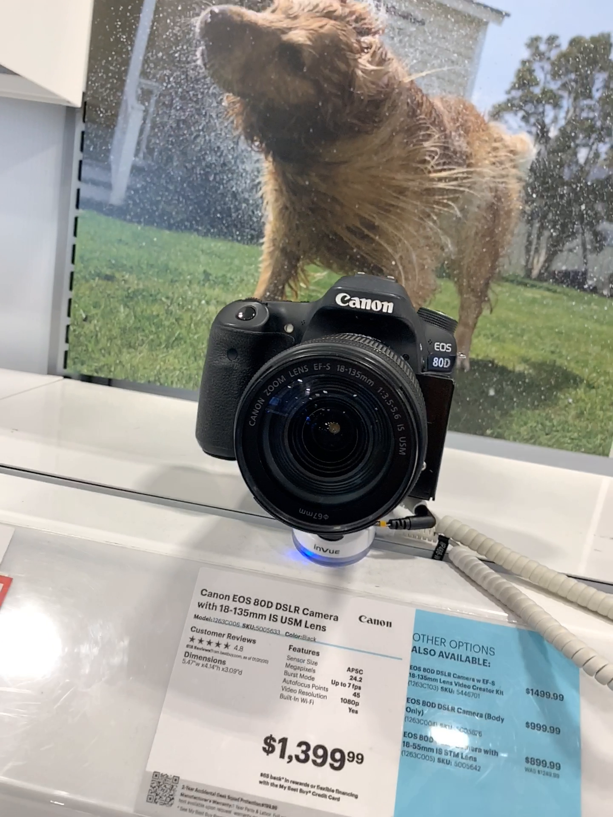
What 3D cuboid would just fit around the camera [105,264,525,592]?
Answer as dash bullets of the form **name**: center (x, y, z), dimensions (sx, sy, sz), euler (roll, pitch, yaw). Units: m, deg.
- **camera**: center (0.007, -0.009, 0.307), dimensions (0.140, 0.100, 0.160), euler (9, 13, 5)
